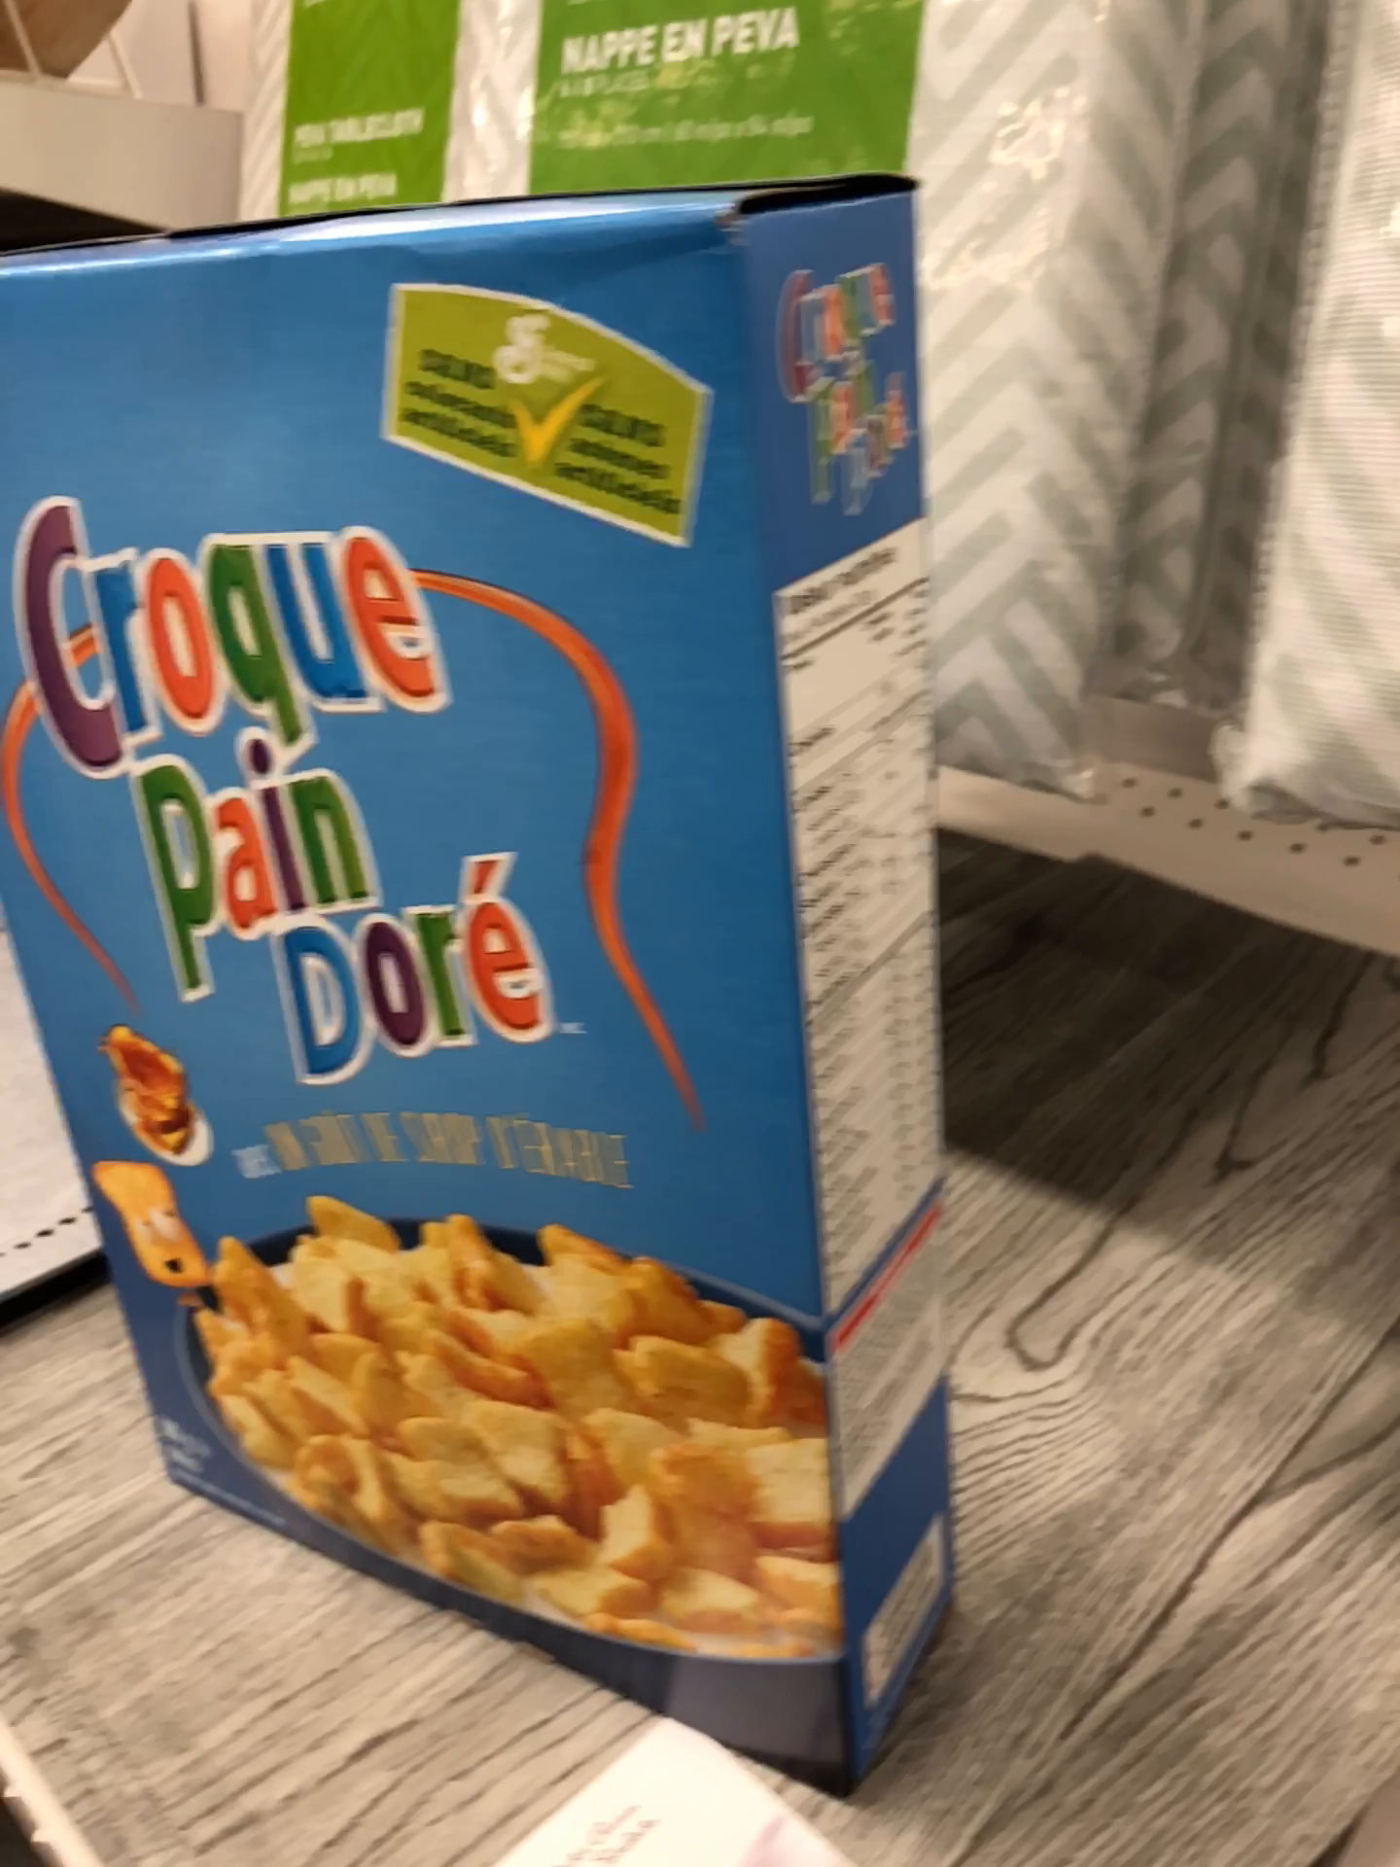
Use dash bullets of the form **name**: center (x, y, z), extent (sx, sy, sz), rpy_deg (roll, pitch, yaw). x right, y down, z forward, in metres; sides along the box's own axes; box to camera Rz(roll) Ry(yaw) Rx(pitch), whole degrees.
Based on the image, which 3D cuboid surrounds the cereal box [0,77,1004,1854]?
- **cereal box**: center (-0.052, 0.011, 0.293), extent (0.210, 0.279, 0.050), rpy_deg (10, 28, 30)
